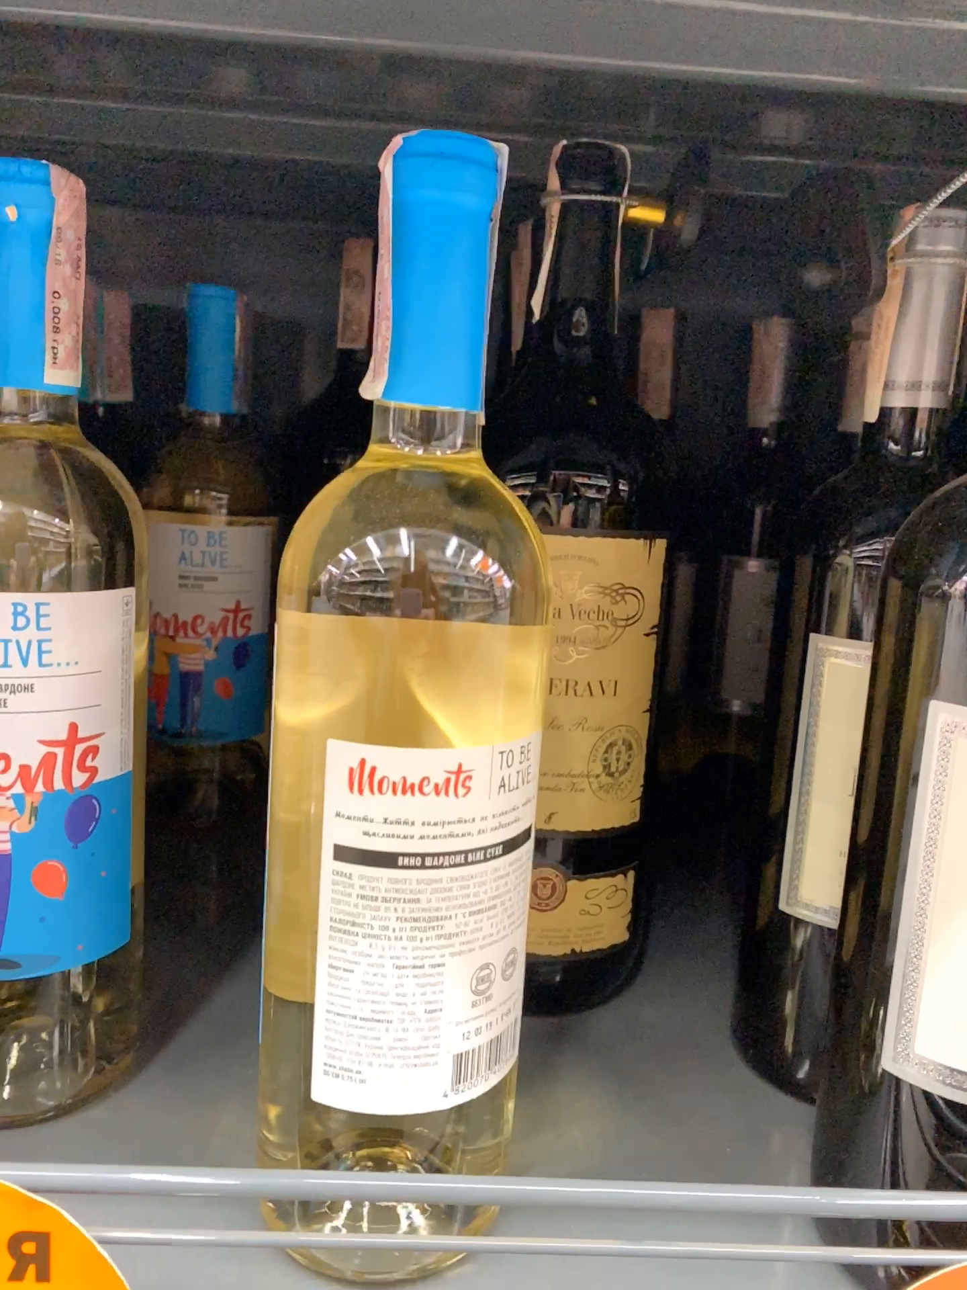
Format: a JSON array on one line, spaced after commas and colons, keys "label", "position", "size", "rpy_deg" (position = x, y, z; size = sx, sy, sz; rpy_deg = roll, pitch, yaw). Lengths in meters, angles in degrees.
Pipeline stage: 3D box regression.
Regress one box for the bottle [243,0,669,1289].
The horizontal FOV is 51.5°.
[{"label": "bottle", "position": [-0.019, 0.014, 0.283], "size": [0.080, 0.313, 0.081], "rpy_deg": [4, 11, -1]}]
